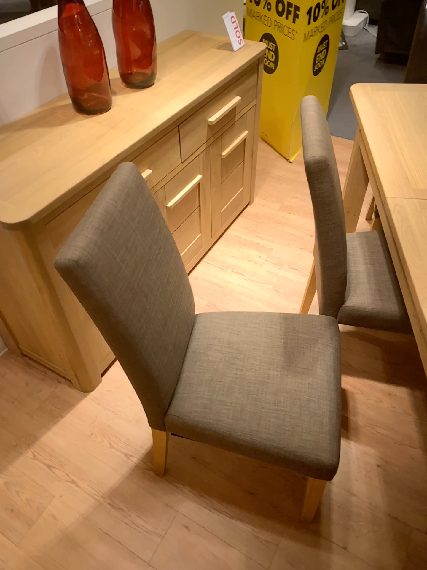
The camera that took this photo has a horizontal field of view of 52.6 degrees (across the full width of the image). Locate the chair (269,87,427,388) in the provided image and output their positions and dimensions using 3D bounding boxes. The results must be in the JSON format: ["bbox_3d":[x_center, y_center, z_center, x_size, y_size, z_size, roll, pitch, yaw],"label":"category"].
[{"bbox_3d":[0.463,-0.124,1.361,0.503,0.765,0.501,4,46,6],"label":"chair"}]

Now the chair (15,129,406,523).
[{"bbox_3d":[0.032,0.150,1.143,0.604,0.884,0.511,8,46,9],"label":"chair"}]
